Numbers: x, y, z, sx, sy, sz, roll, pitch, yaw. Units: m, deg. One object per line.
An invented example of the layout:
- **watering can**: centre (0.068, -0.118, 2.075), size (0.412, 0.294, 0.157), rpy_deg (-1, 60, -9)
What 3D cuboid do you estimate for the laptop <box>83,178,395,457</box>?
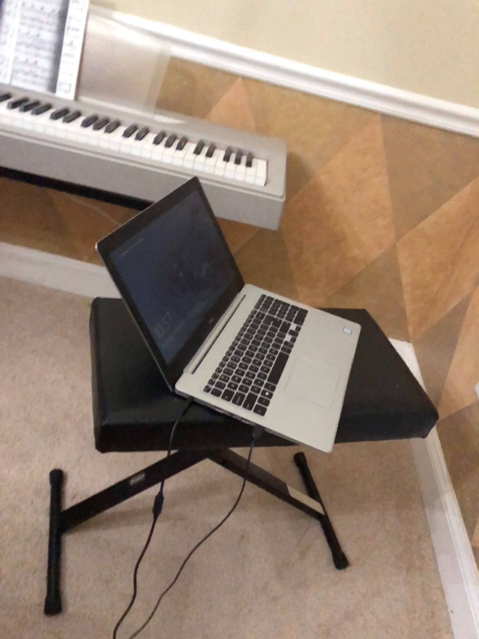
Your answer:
- **laptop**: centre (0.023, -0.037, 0.887), size (0.408, 0.183, 0.377), rpy_deg (21, 34, 7)
